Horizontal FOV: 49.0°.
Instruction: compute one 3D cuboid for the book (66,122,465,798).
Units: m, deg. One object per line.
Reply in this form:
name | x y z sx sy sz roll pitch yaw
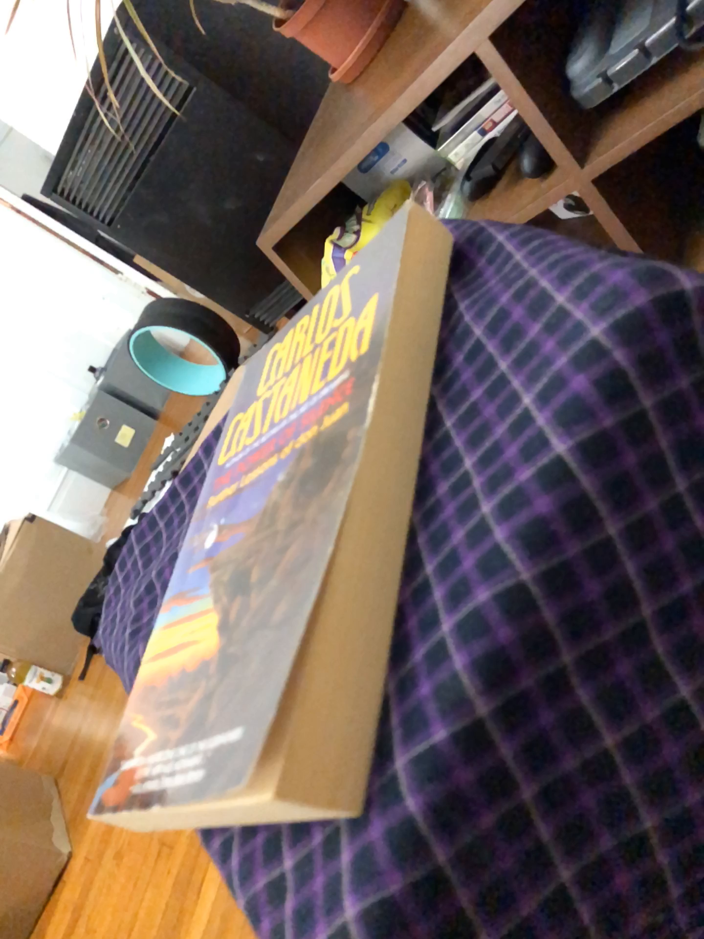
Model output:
book | -0.030 -0.003 0.278 0.150 0.020 0.221 -32 37 48
